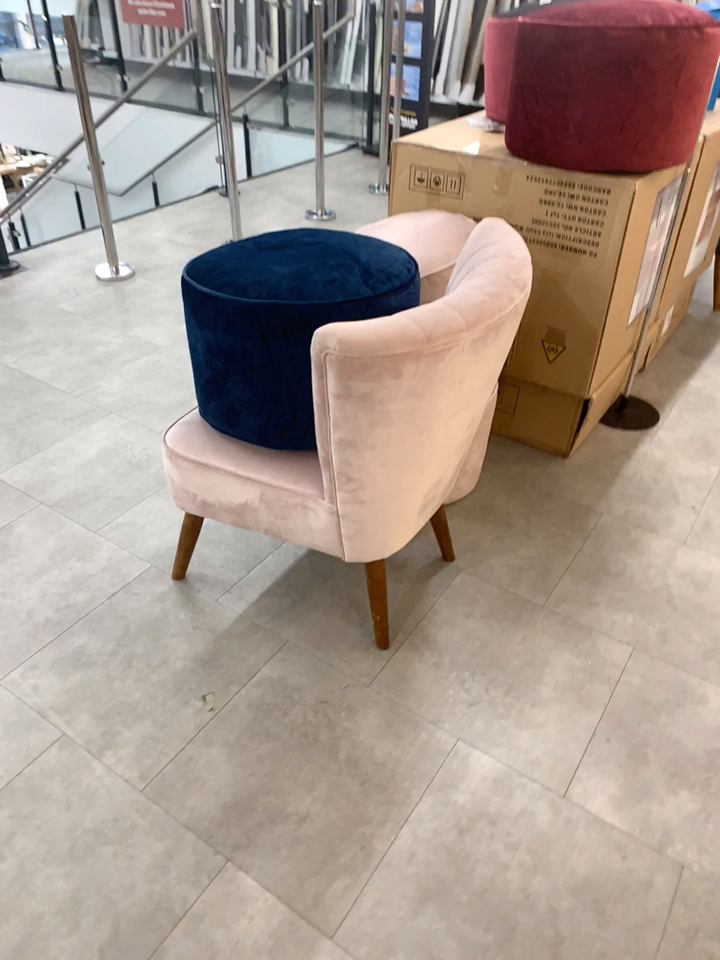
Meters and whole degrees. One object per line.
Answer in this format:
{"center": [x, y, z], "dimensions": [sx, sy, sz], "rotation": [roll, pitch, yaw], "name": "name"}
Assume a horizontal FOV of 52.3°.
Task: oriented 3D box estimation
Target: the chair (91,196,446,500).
{"center": [-0.173, -0.312, 1.540], "dimensions": [0.506, 0.363, 0.478], "rotation": [24, 42, 28], "name": "chair"}

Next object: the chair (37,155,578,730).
{"center": [-0.081, -0.138, 1.588], "dimensions": [0.746, 0.848, 0.659], "rotation": [22, 41, 26], "name": "chair"}
